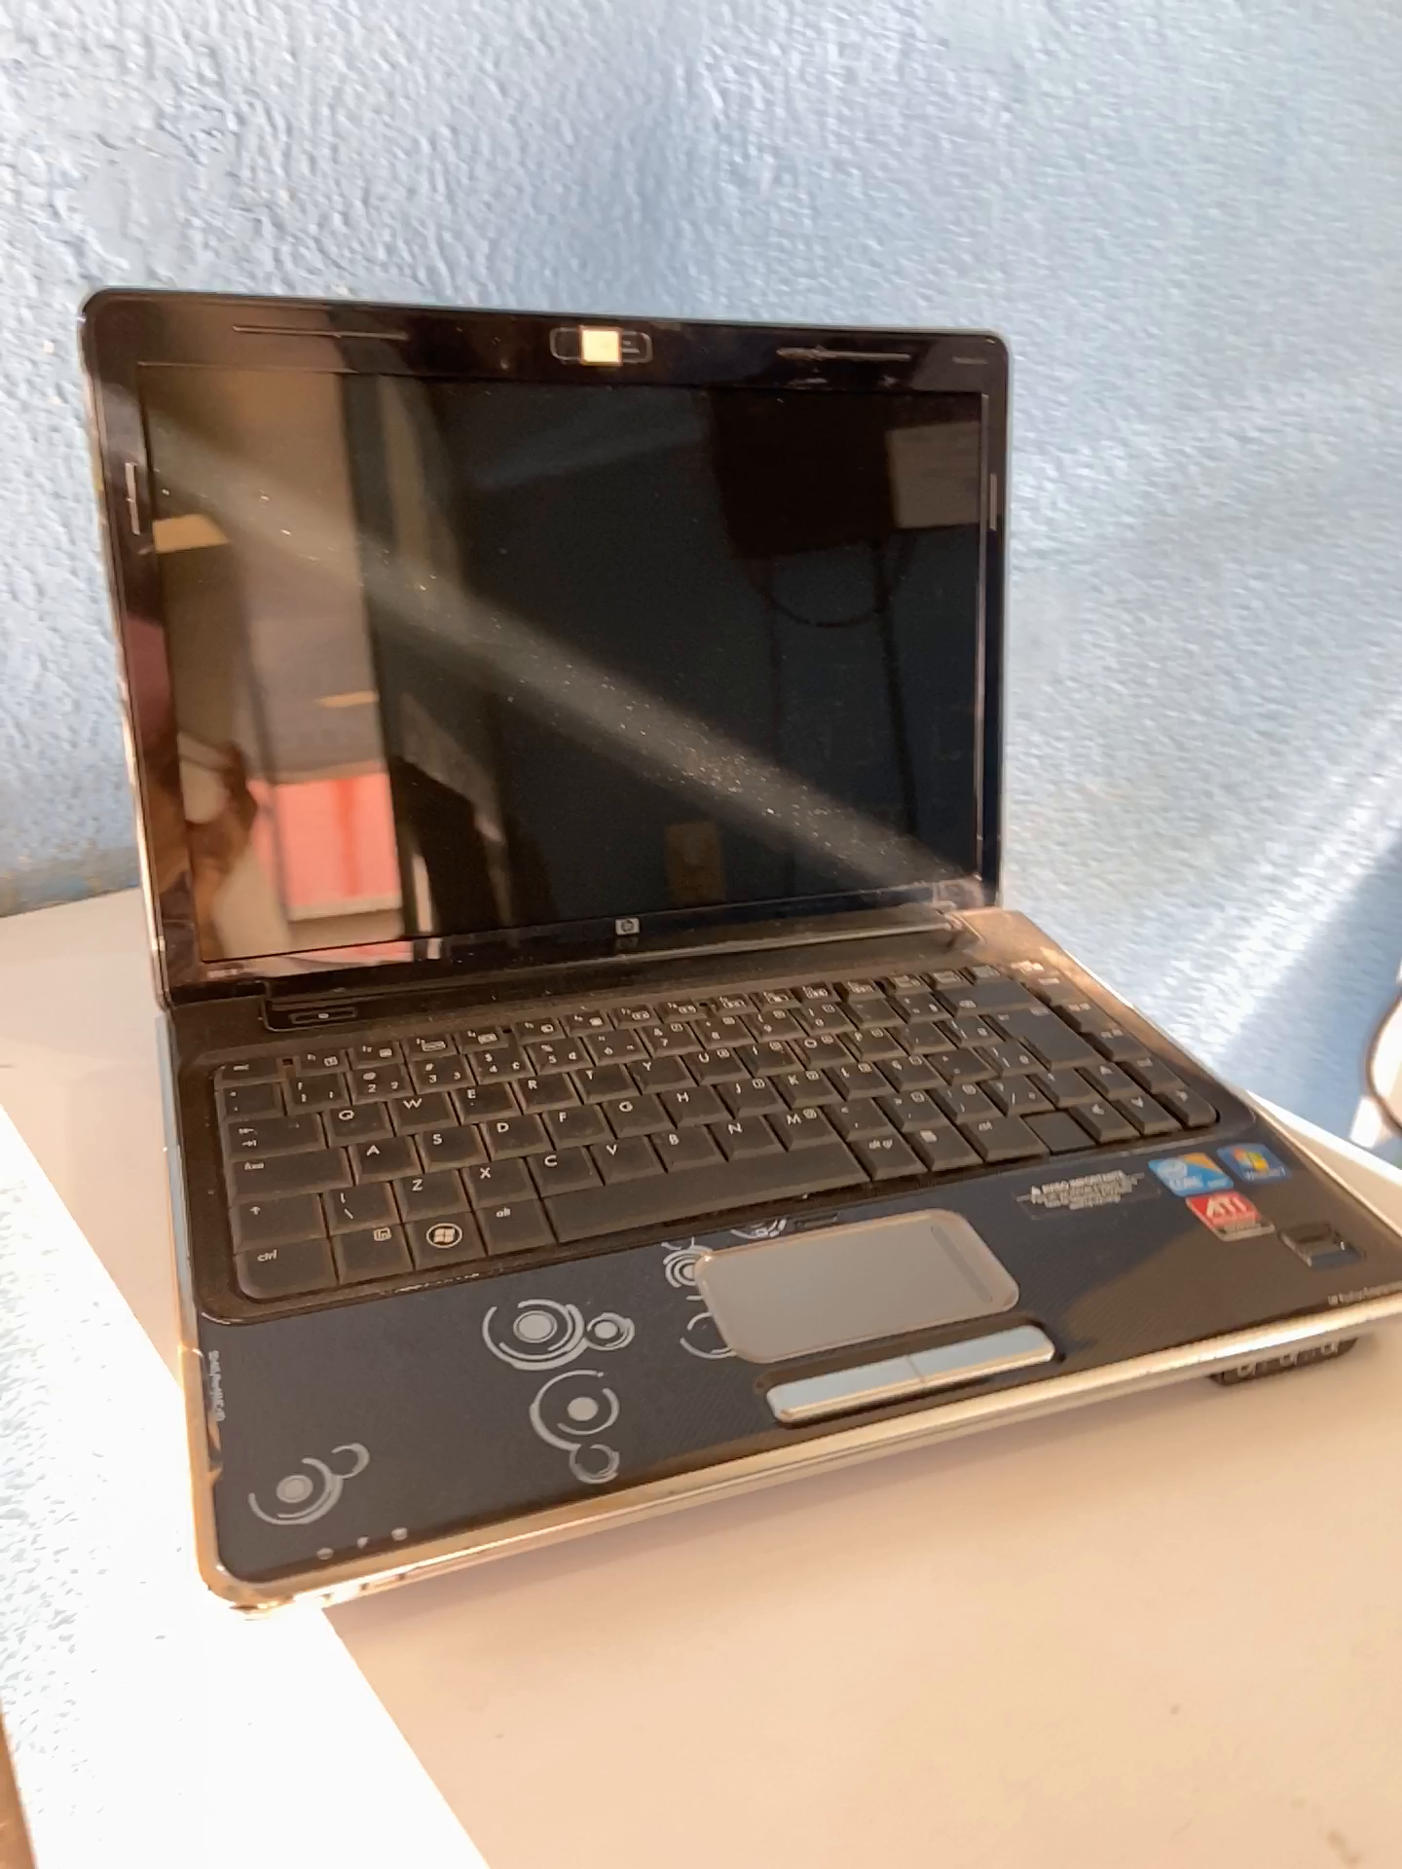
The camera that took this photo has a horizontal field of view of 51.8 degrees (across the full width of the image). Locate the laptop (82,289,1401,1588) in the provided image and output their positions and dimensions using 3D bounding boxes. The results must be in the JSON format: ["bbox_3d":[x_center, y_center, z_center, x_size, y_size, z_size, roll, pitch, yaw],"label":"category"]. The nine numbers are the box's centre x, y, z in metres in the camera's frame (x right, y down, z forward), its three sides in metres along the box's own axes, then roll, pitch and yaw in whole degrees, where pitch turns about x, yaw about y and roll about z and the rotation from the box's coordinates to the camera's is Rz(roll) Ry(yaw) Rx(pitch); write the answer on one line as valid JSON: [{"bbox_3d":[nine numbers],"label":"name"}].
[{"bbox_3d":[0.006,-0.051,0.422,0.322,0.210,0.303,-6,29,-20],"label":"laptop"}]
